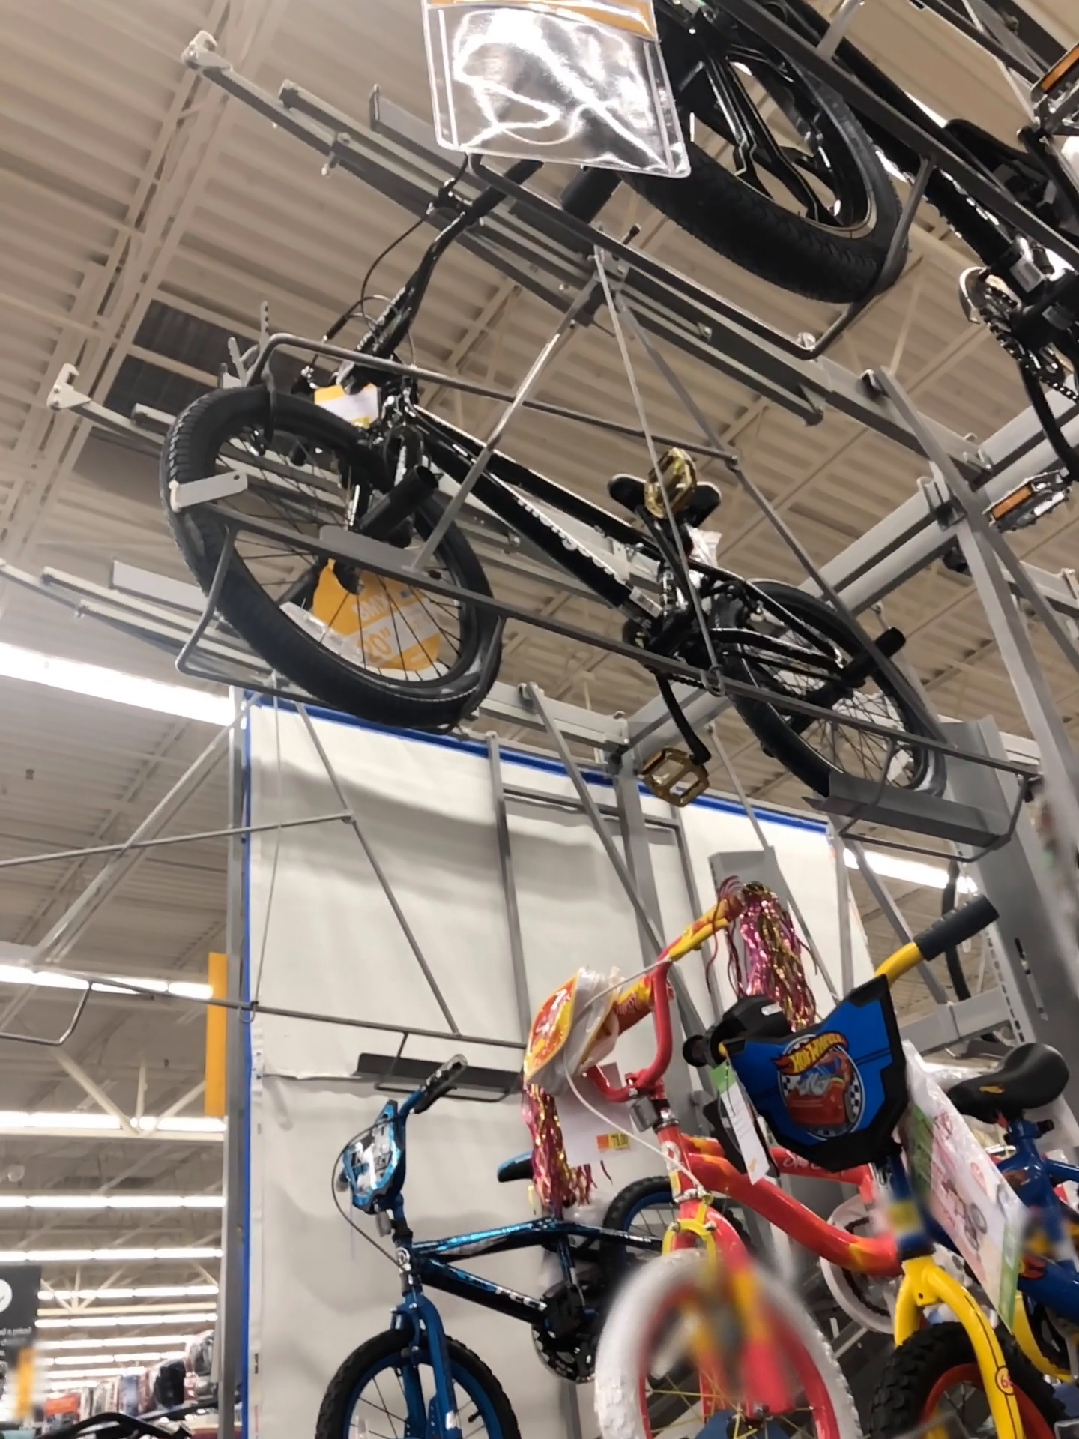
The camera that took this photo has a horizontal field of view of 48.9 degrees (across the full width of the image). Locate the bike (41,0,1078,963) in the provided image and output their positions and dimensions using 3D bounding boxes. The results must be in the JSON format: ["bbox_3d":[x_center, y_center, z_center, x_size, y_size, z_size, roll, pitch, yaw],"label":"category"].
[{"bbox_3d":[0.070,-0.252,1.854,1.350,0.910,0.751,14,-37,-32],"label":"bike"}]
